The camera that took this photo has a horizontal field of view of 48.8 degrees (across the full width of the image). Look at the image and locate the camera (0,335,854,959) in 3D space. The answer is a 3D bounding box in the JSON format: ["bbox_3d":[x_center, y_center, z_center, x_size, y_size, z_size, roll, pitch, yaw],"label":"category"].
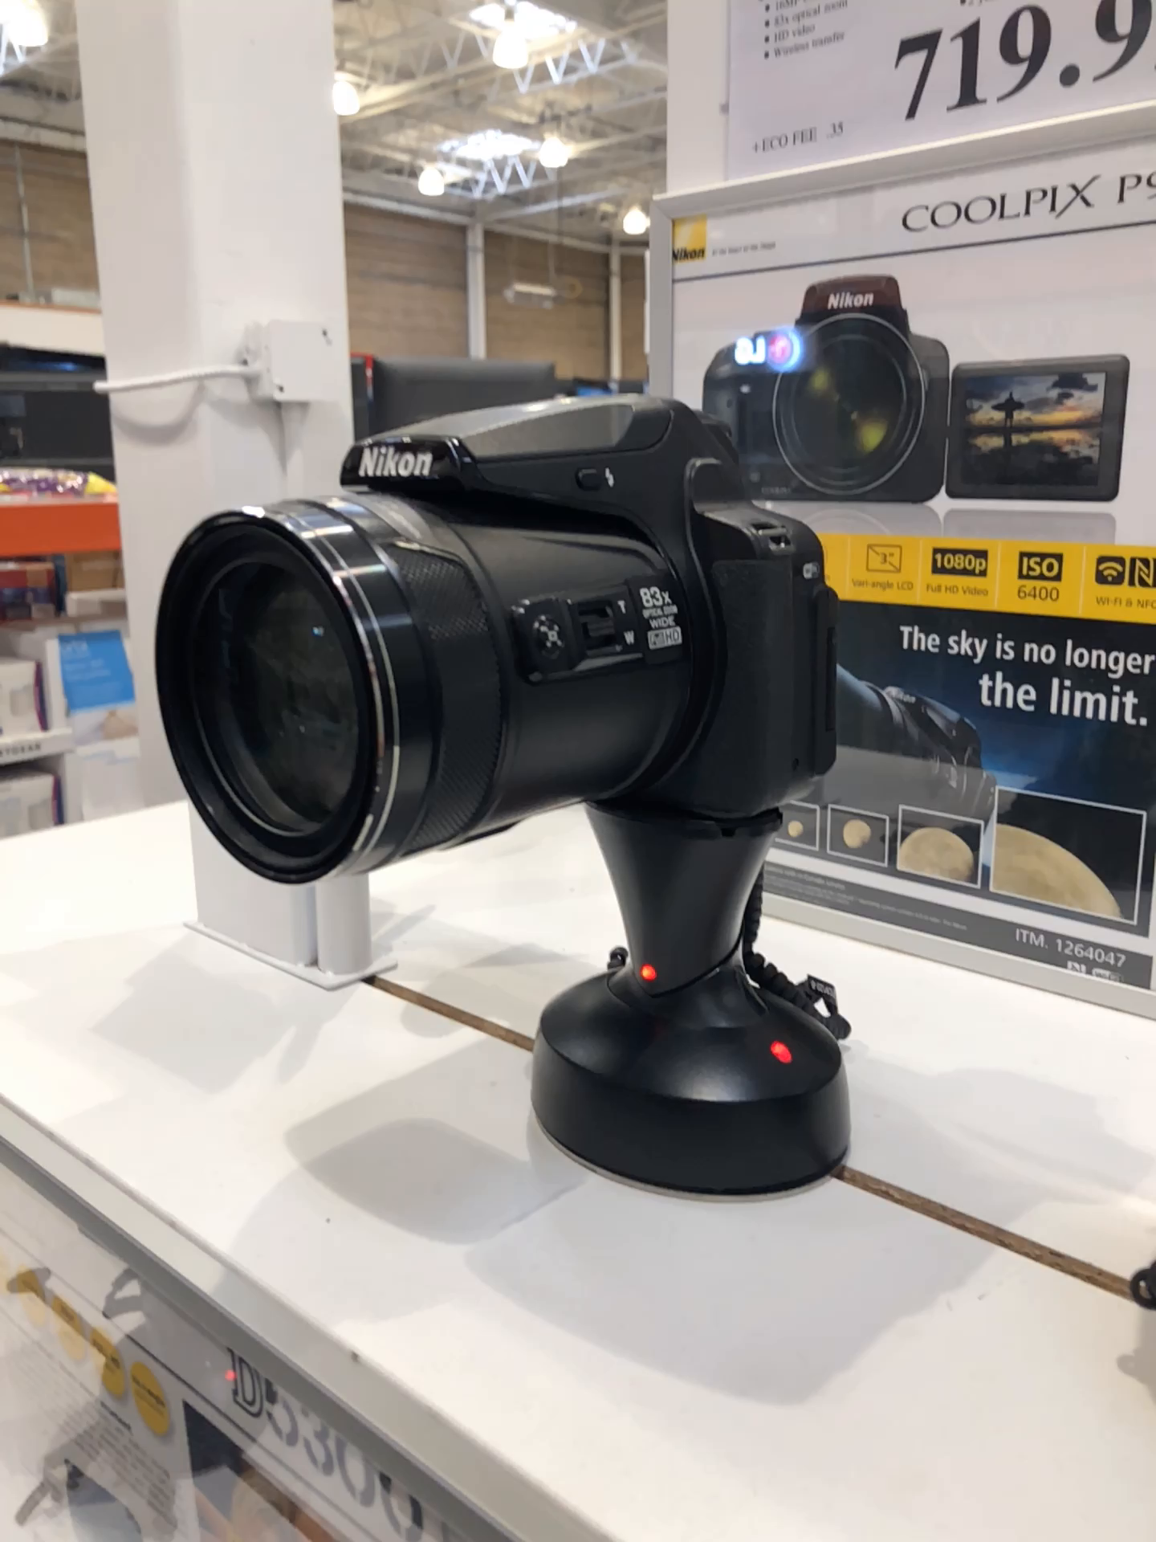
[{"bbox_3d":[-0.039,-0.041,0.303,0.150,0.100,0.140,12,18,42],"label":"camera"}]
